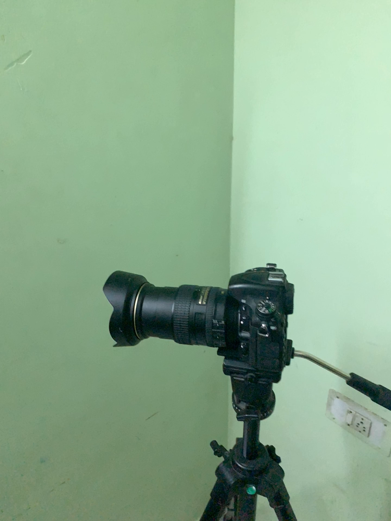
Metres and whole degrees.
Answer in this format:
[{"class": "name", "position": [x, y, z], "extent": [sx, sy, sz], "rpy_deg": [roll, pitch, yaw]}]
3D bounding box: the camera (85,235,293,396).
[{"class": "camera", "position": [0.003, 0.065, 0.574], "extent": [0.250, 0.131, 0.164], "rpy_deg": [5, 28, 13]}]
